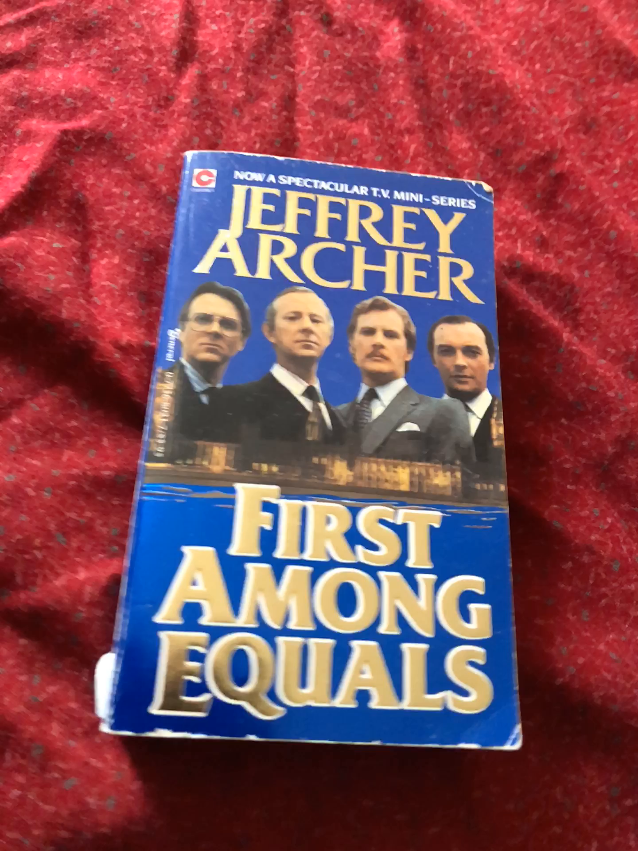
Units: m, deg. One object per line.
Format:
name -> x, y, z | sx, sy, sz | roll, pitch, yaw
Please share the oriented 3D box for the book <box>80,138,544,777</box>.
book -> 0.002, 0.004, 0.216 | 0.110, 0.038, 0.177 | 5, 70, -6
